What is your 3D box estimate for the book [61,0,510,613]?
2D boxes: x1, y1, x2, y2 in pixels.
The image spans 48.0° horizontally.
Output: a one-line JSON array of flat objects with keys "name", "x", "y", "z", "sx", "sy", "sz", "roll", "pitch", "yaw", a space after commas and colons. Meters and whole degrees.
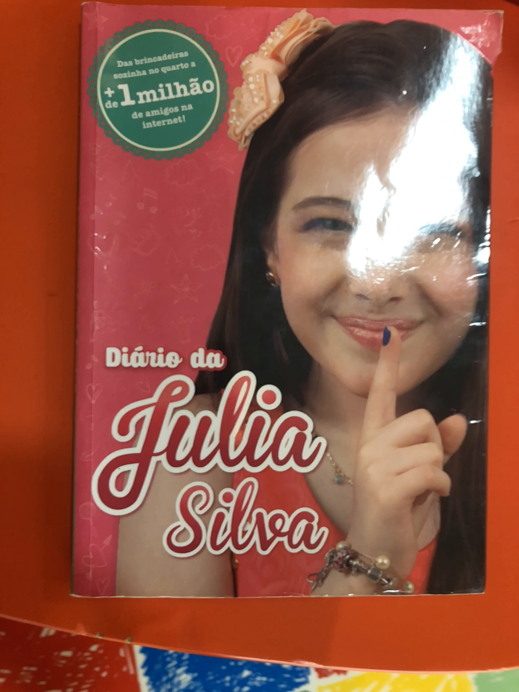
[{"name": "book", "x": 0.013, "y": -0.020, "z": 0.235, "sx": 0.171, "sy": 0.020, "sz": 0.241, "roll": 1, "pitch": 89, "yaw": -5}]
